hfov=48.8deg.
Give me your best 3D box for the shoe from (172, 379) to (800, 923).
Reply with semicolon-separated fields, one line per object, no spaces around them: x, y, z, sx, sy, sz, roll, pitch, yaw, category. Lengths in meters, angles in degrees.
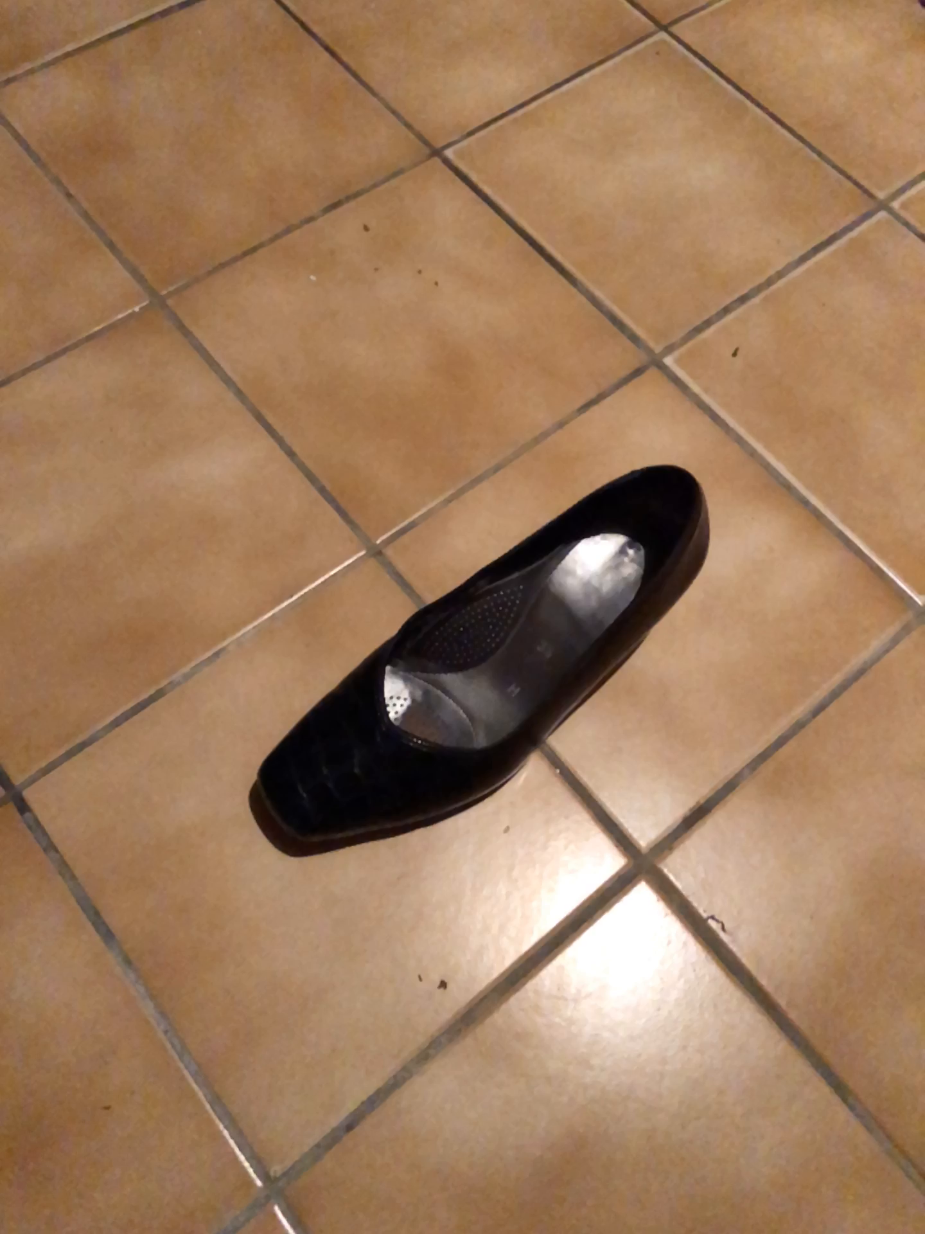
0.014;0.012;0.459;0.251;0.090;0.100;-34;72;-18;shoe
